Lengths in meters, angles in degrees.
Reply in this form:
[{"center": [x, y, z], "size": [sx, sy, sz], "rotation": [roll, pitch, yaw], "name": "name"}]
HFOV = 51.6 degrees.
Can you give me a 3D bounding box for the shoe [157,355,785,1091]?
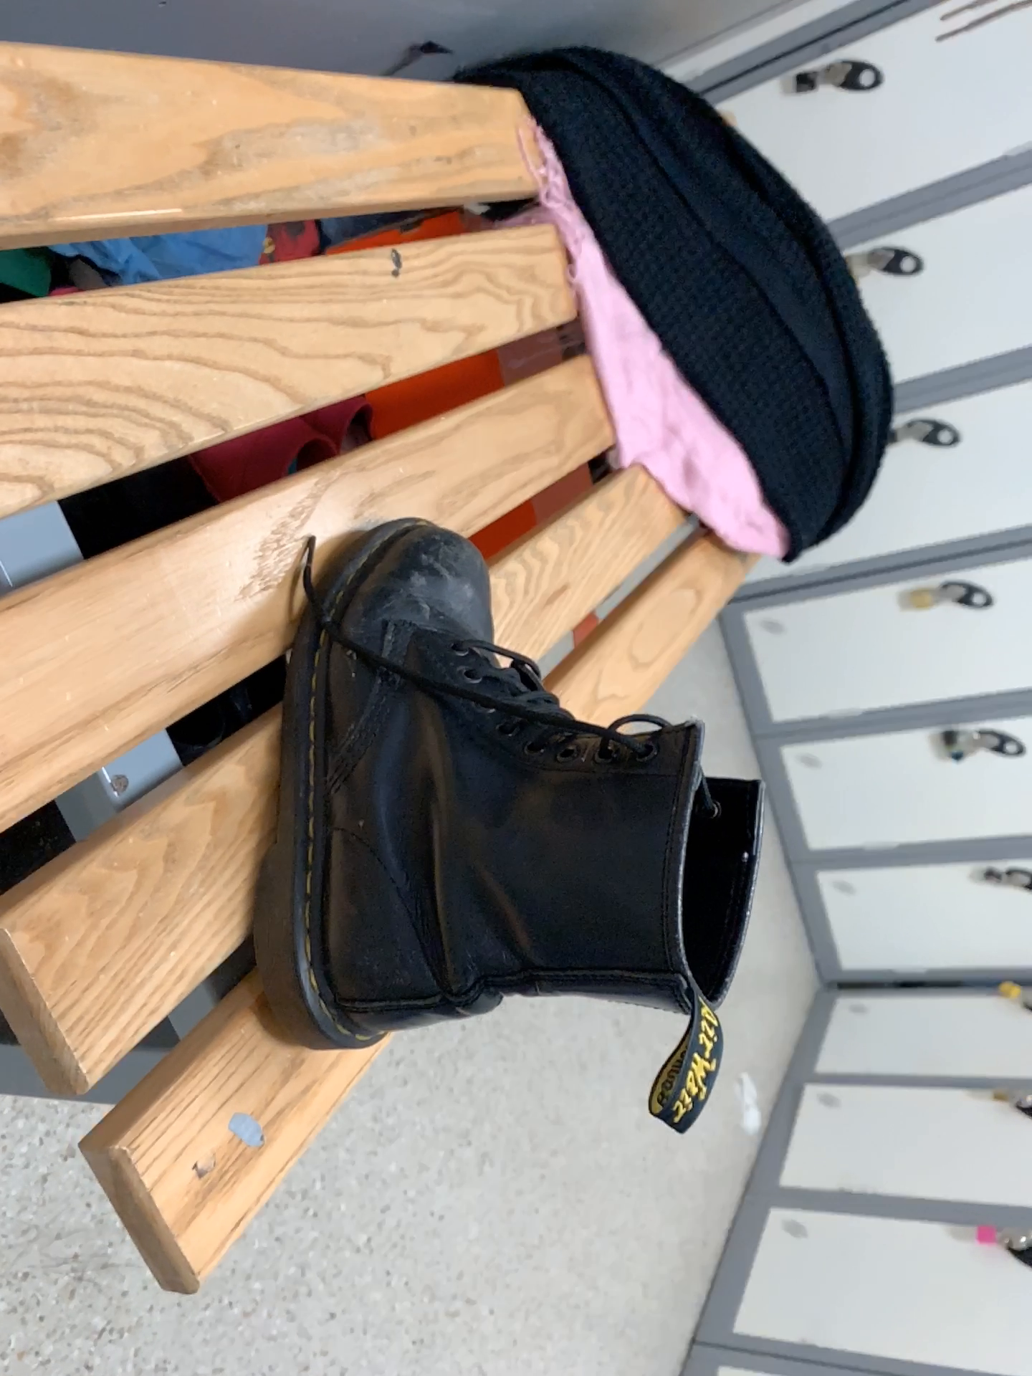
[{"center": [-0.004, 0.019, 0.454], "size": [0.107, 0.199, 0.262], "rotation": [44, 46, -45], "name": "shoe"}]
